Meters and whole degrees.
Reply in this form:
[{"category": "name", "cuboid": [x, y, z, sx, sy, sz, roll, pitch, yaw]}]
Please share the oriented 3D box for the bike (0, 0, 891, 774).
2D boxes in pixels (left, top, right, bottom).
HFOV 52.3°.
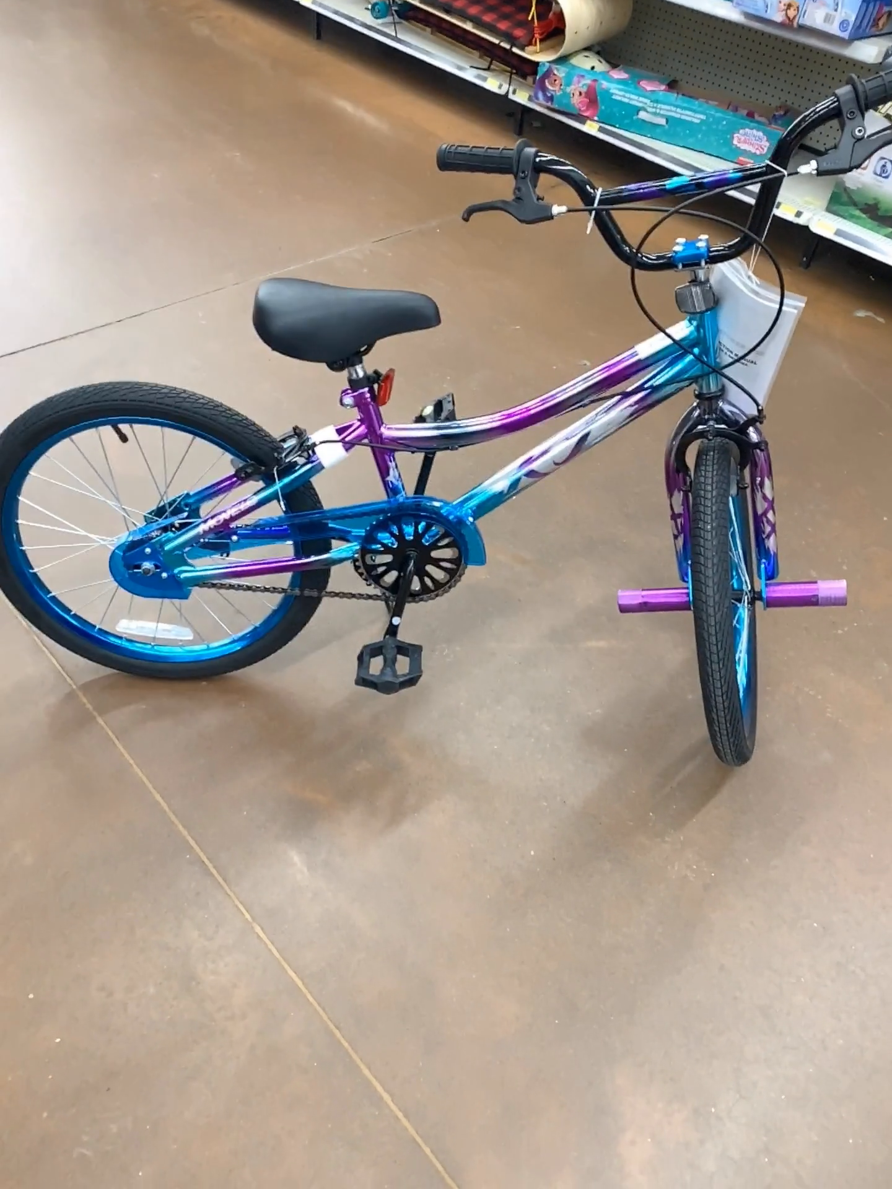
[{"category": "bike", "cuboid": [-0.055, -0.331, 1.258, 1.119, 0.876, 0.623, -3, 46, -11]}]
